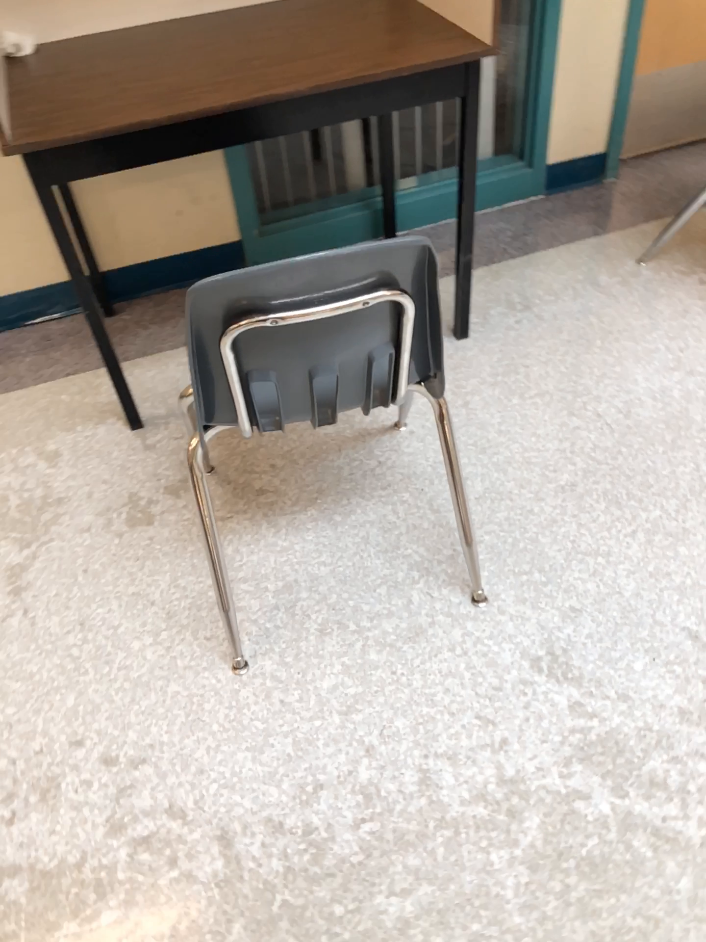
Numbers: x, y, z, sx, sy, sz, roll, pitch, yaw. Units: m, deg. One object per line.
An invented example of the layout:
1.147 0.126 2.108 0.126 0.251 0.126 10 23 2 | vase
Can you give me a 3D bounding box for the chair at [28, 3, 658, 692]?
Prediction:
-0.043 -0.187 1.161 0.590 0.695 0.614 -13 45 -7 | chair
